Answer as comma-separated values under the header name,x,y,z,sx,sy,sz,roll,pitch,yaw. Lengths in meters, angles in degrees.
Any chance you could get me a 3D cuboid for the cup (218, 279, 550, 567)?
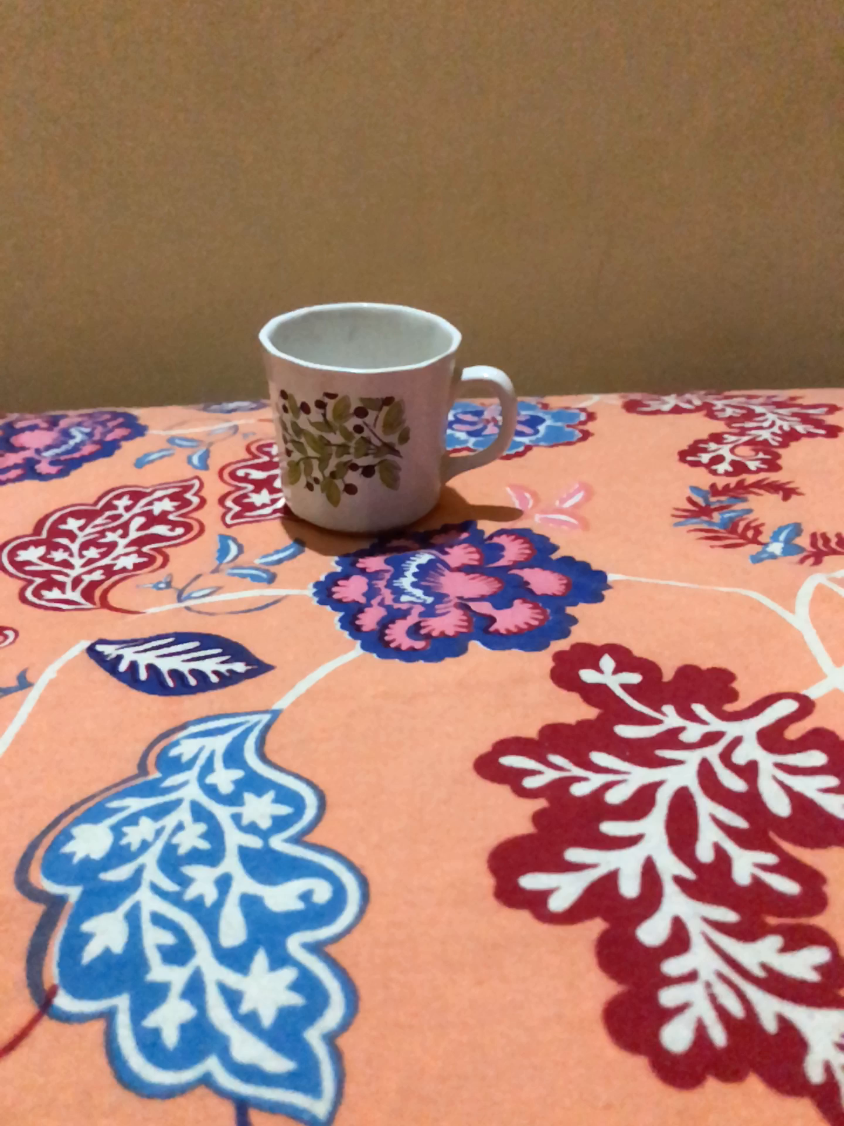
name,x,y,z,sx,sy,sz,roll,pitch,yaw
cup,-0.008,-0.048,0.308,0.090,0.070,0.060,5,33,13
